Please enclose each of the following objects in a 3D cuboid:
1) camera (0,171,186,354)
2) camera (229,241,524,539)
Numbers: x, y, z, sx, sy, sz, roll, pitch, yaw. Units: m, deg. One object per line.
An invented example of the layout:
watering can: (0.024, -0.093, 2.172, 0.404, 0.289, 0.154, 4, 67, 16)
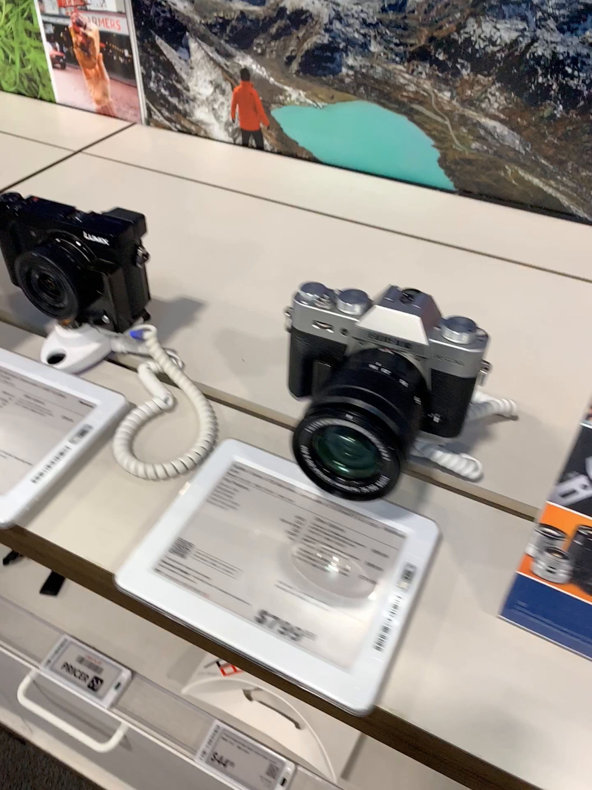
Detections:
camera: (-0.155, -0.098, 0.443, 0.120, 0.080, 0.070, 20, 47, 18)
camera: (0.047, -0.010, 0.347, 0.120, 0.080, 0.120, 19, 47, 18)
